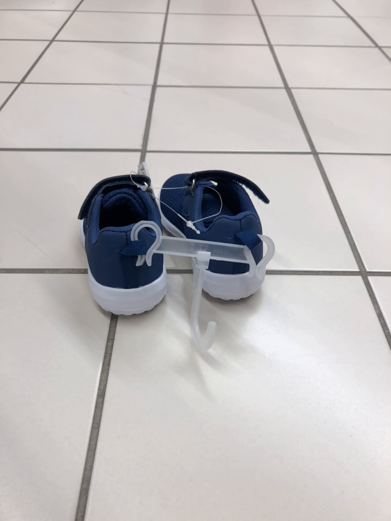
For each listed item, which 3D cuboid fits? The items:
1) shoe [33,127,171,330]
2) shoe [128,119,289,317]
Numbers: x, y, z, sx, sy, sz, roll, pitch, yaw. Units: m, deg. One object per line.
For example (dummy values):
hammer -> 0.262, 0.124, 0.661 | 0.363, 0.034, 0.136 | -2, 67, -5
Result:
shoe -> -0.069, -0.035, 0.347 | 0.081, 0.073, 0.160 | -5, 43, -7
shoe -> 0.001, -0.044, 0.361 | 0.075, 0.076, 0.158 | -13, 44, -15
